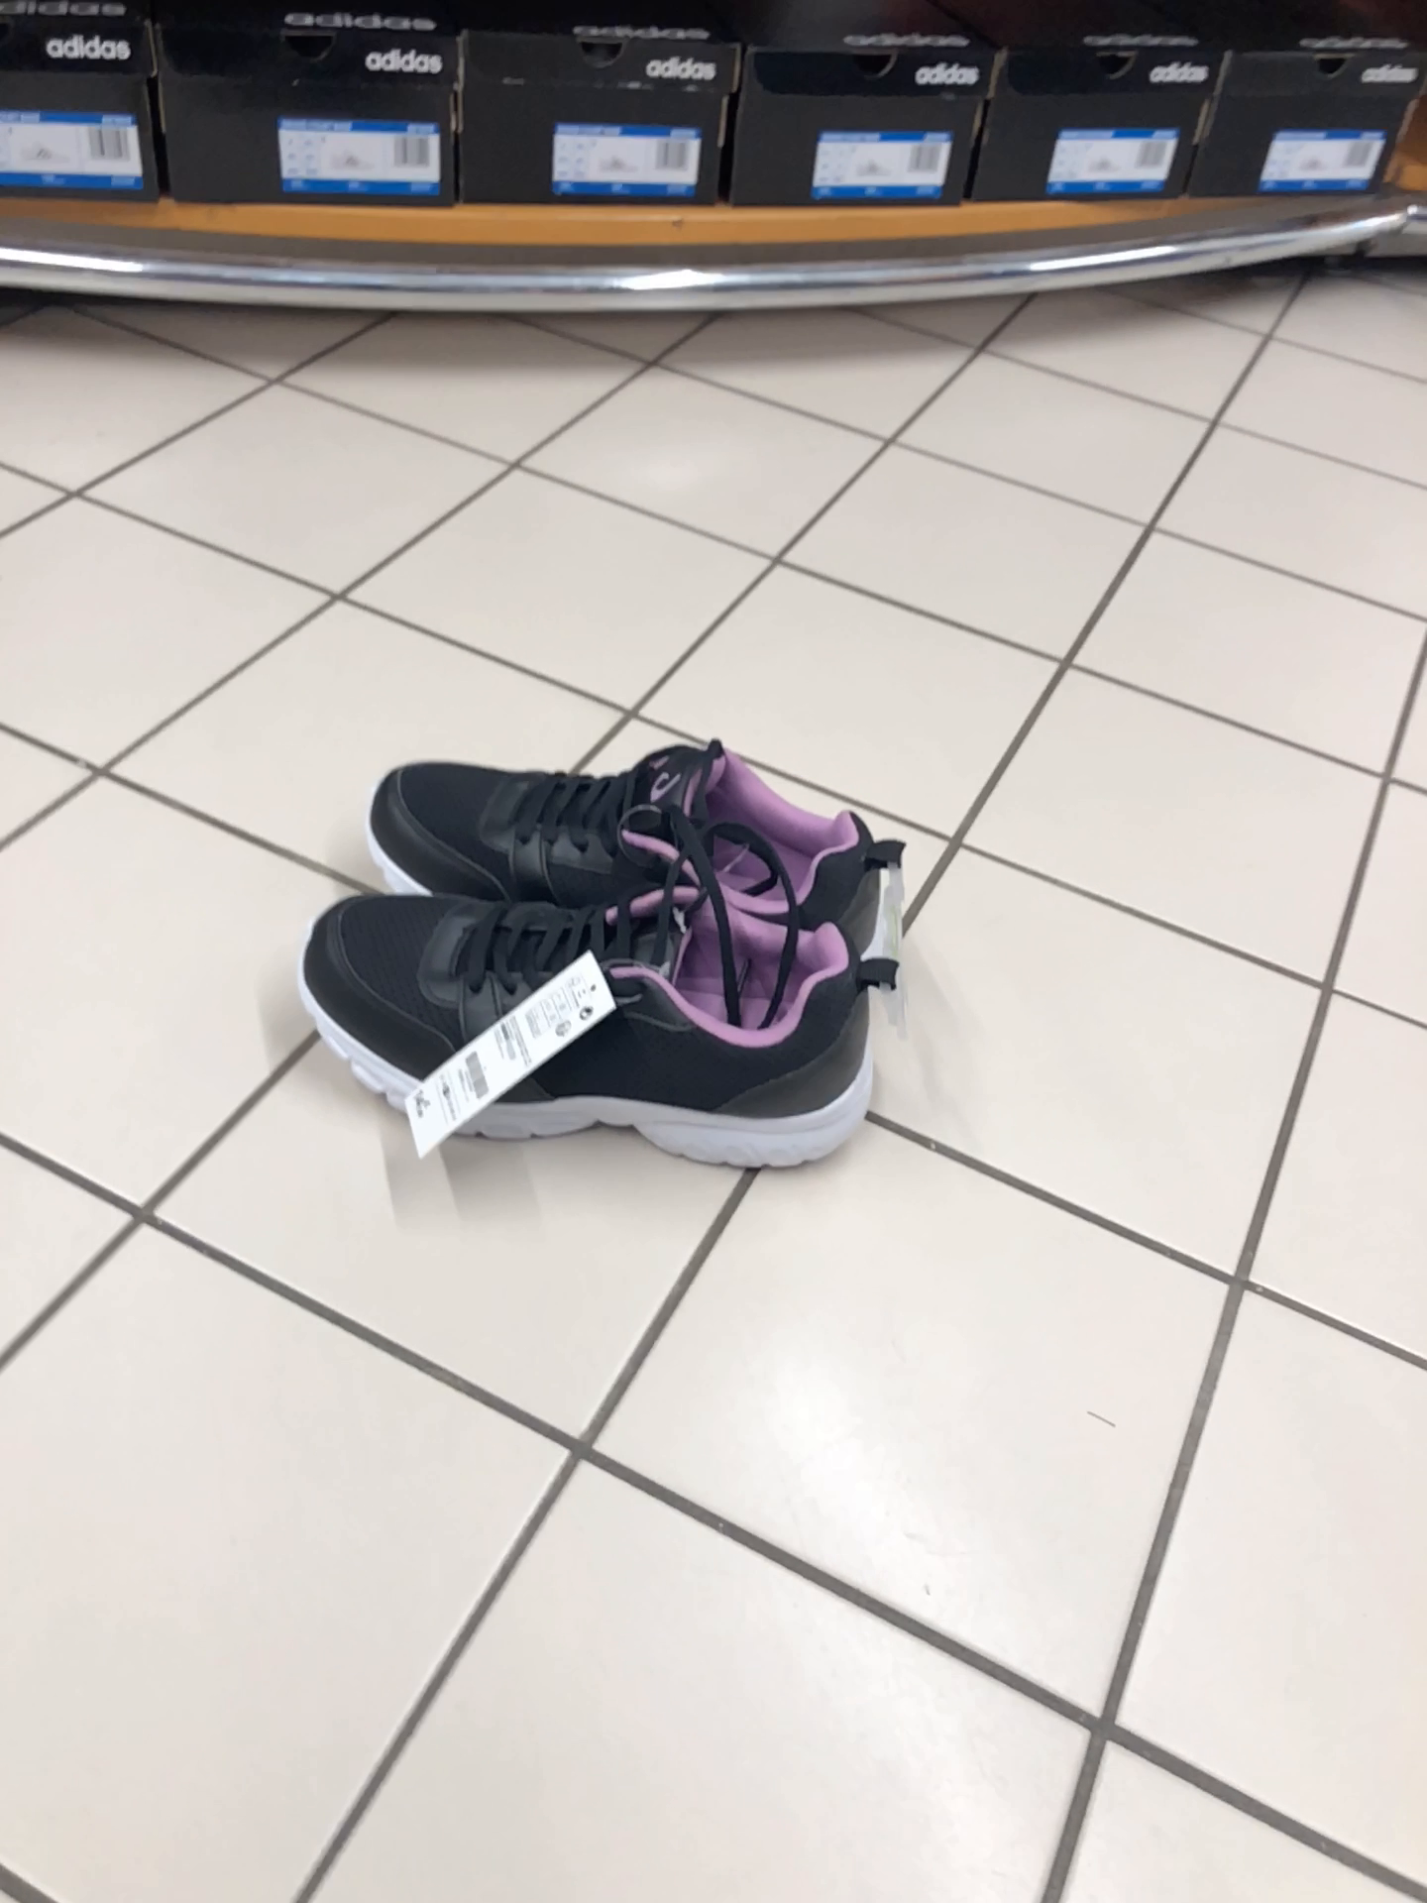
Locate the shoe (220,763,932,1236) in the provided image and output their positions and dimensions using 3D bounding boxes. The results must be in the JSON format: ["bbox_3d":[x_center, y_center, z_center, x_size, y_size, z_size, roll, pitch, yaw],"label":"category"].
[{"bbox_3d":[-0.052,0.018,0.654,0.260,0.089,0.111,13,48,4],"label":"shoe"}]

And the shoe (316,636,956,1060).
[{"bbox_3d":[-0.032,-0.049,0.715,0.260,0.089,0.111,13,45,4],"label":"shoe"}]
